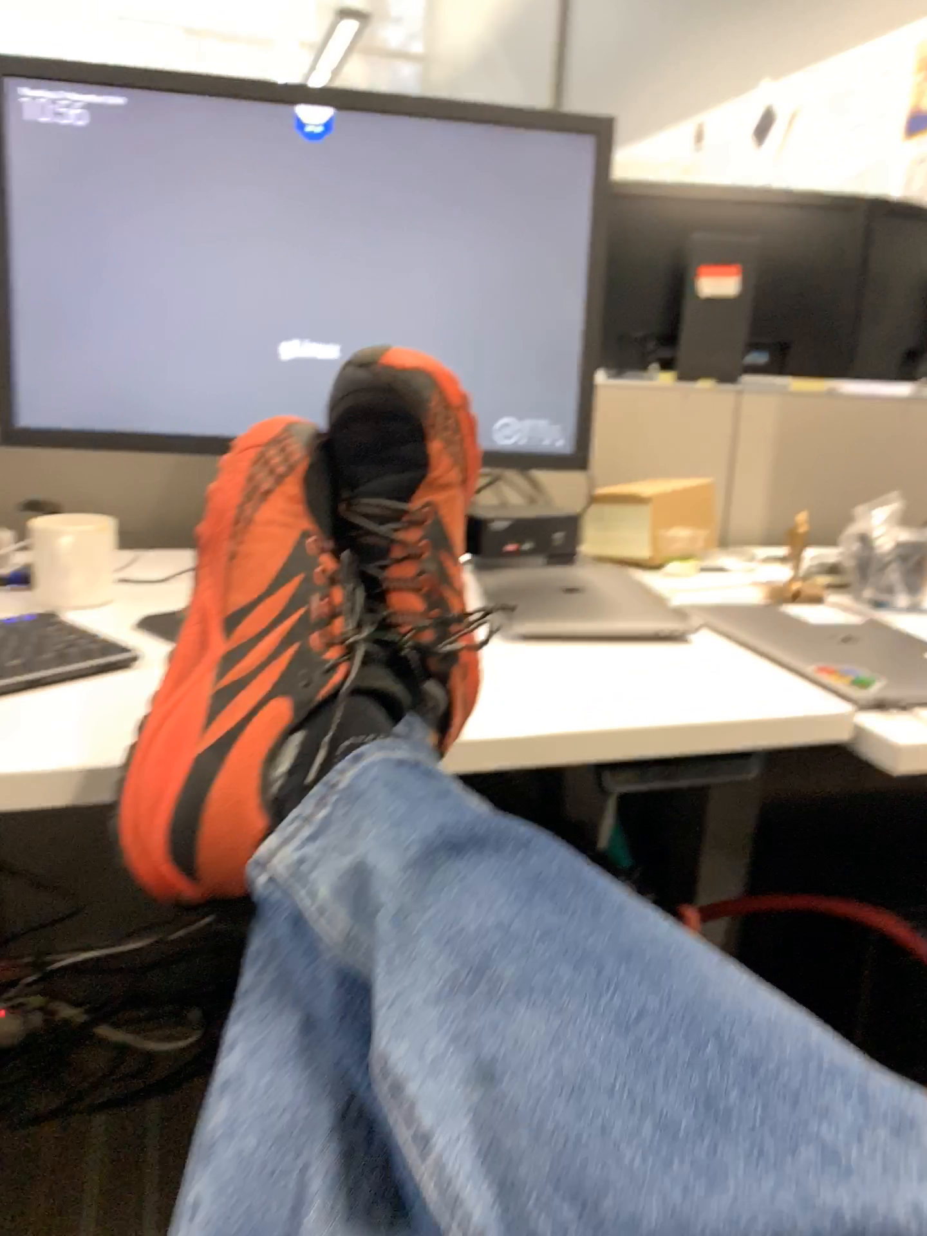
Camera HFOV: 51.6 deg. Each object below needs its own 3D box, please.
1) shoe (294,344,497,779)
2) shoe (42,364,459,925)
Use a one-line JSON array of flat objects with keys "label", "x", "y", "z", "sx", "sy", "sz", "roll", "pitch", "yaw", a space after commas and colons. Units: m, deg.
[{"label": "shoe", "x": -0.039, "y": -0.040, "z": 0.639, "sx": 0.107, "sy": 0.272, "sz": 0.083, "roll": 3, "pitch": 16, "yaw": 13}, {"label": "shoe", "x": -0.105, "y": 0.007, "z": 0.540, "sx": 0.132, "sy": 0.290, "sz": 0.091, "roll": 6, "pitch": -20, "yaw": 17}]
